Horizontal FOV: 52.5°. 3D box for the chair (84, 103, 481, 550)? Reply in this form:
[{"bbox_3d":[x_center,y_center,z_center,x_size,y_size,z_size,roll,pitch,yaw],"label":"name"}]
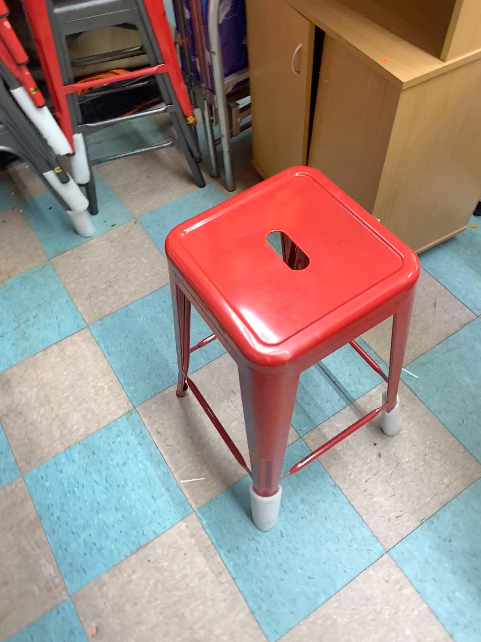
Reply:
[{"bbox_3d":[0.093,0.054,0.908,0.438,0.599,0.435,-30,61,-14],"label":"chair"}]
